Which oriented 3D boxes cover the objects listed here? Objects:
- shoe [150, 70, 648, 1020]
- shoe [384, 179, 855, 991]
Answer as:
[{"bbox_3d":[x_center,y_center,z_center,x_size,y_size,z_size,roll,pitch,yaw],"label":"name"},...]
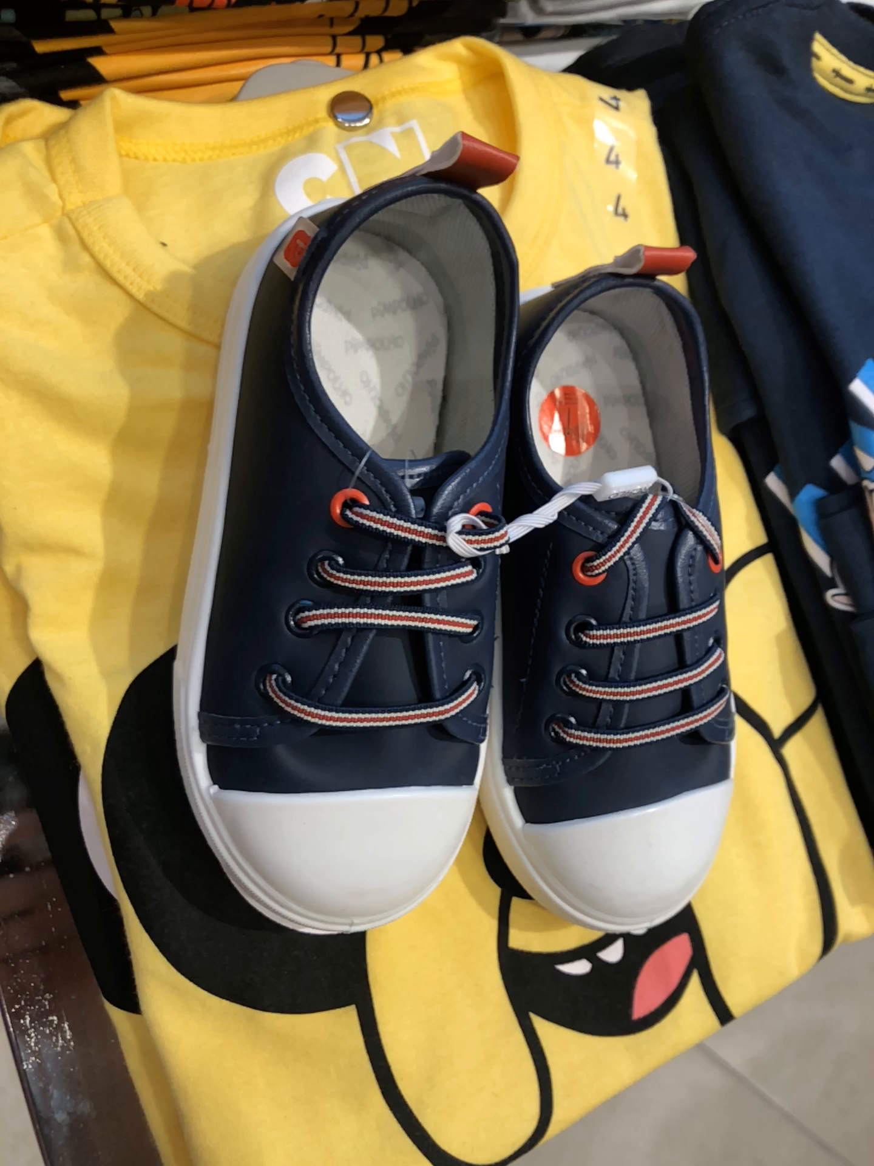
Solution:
[{"bbox_3d":[-0.013,-0.005,0.213,0.080,0.070,0.160,3,90,-22],"label":"shoe"},{"bbox_3d":[0.044,-0.003,0.252,0.080,0.070,0.170,-7,94,-24],"label":"shoe"}]
